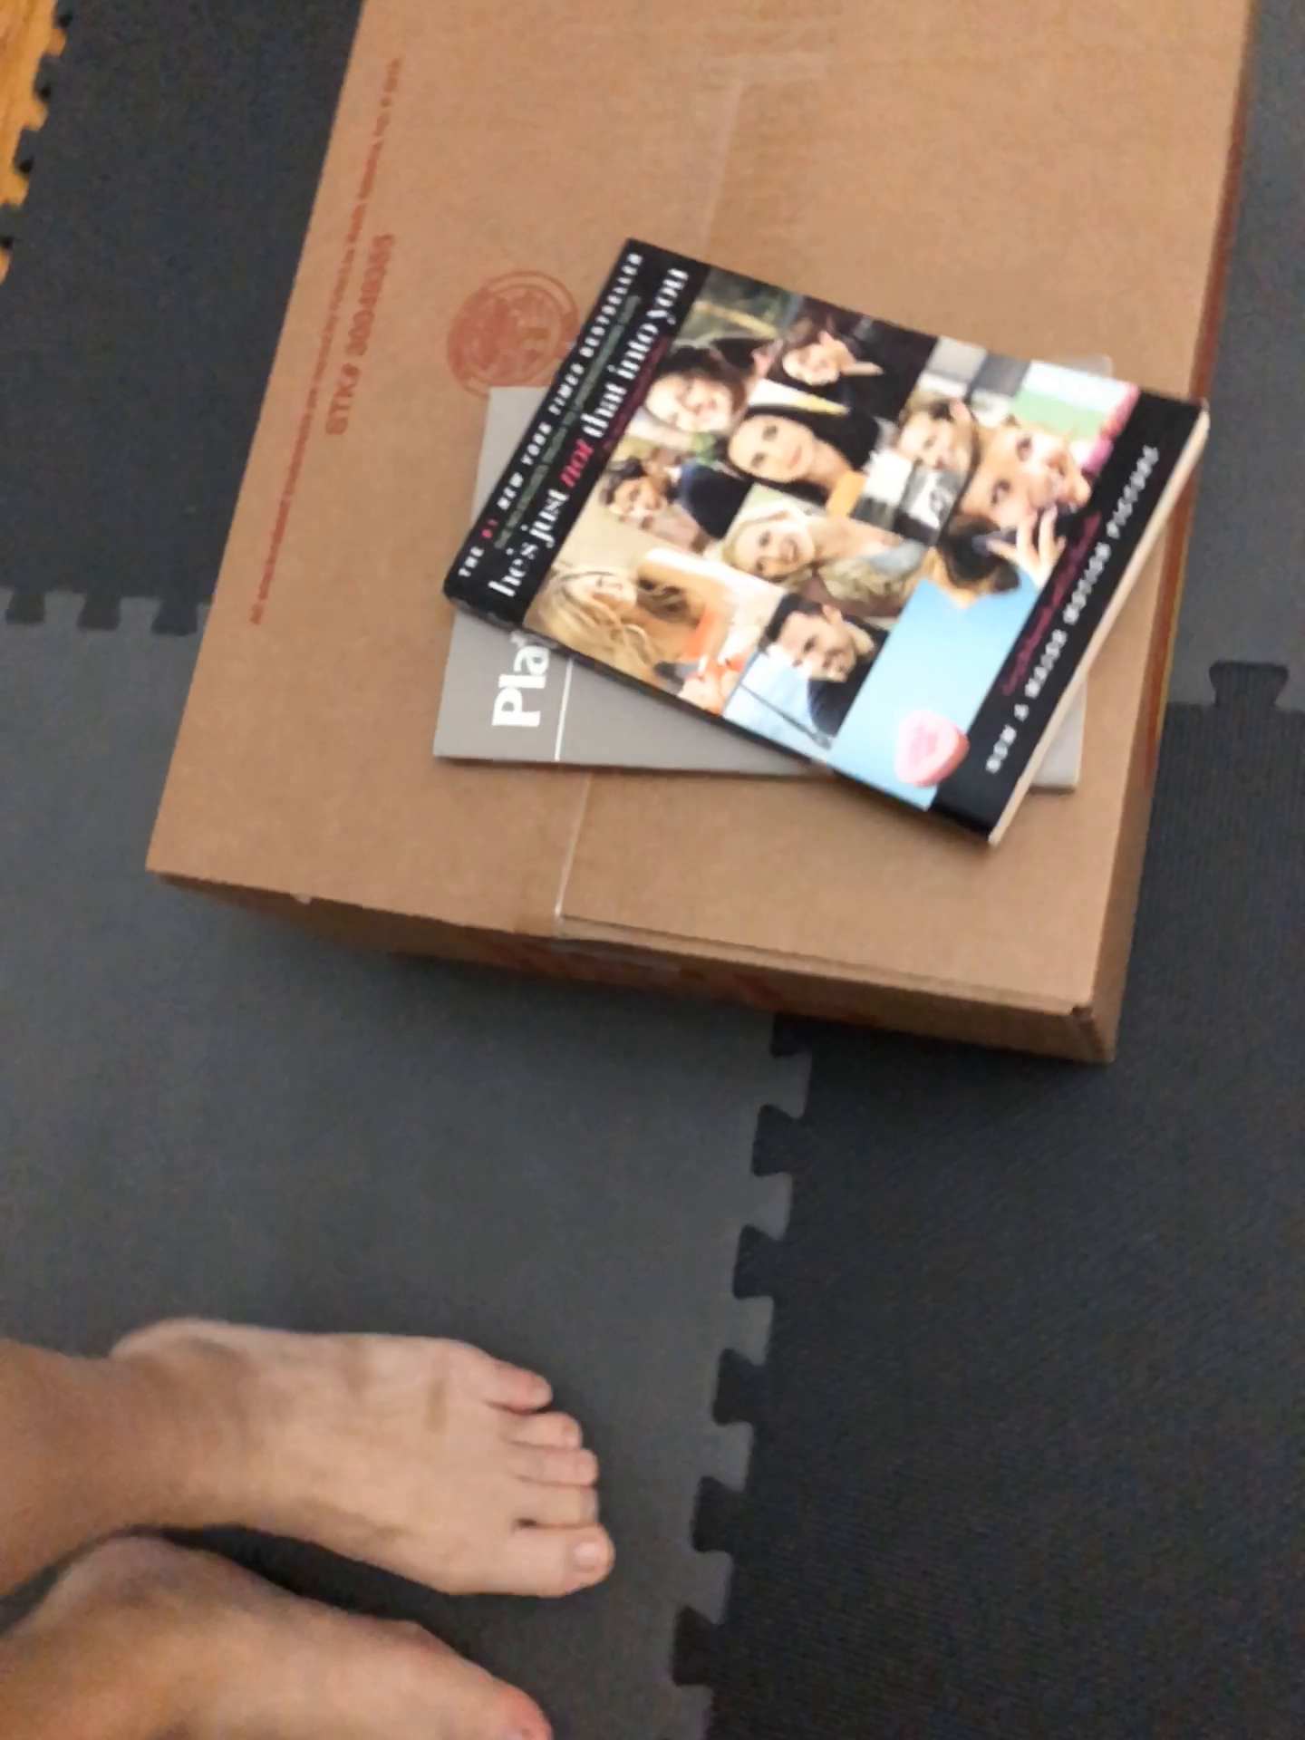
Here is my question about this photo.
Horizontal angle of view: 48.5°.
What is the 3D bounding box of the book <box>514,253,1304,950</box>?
[{"bbox_3d":[0.085,-0.094,0.452,0.230,0.010,0.150,27,88,22],"label":"book"}]
